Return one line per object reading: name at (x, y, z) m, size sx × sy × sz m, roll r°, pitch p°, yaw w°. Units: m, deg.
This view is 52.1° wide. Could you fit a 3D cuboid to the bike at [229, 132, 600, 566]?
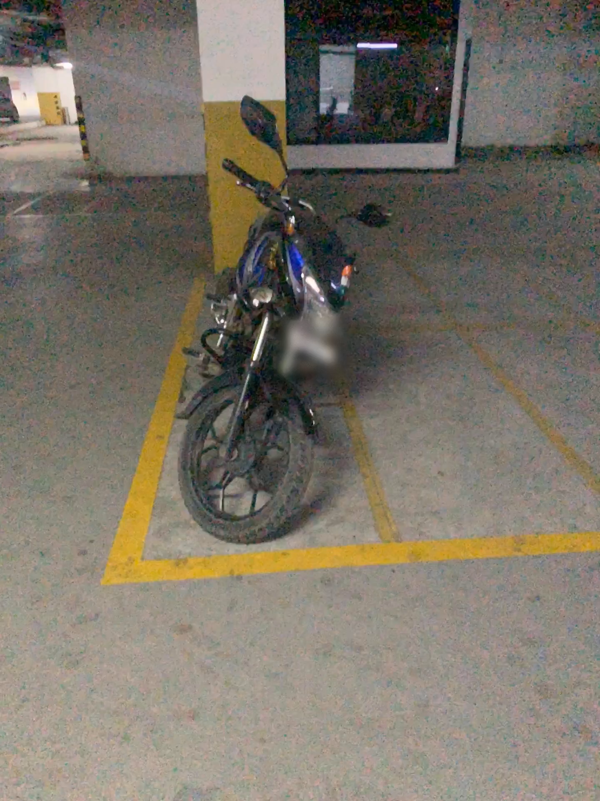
bike at (0.190, -0.493, 2.749) m, size 0.850 × 1.205 × 2.223 m, roll -4°, pitch 26°, yaw -7°
